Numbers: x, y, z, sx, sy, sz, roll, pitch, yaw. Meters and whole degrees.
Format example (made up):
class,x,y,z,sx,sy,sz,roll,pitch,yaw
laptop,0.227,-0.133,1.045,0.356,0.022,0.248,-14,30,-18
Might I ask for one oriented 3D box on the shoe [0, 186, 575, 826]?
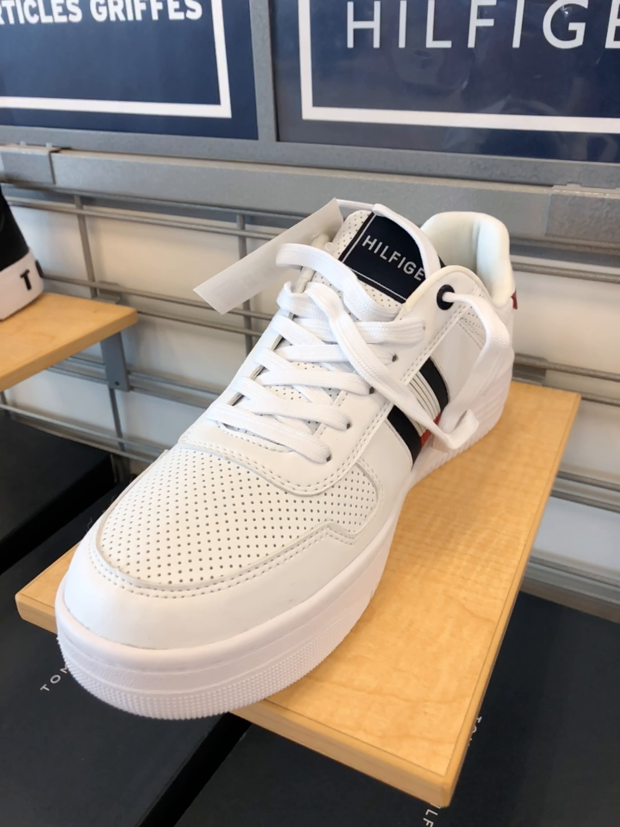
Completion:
class,x,y,z,sx,sy,sz,roll,pitch,yaw
shoe,0.011,-0.009,0.291,0.107,0.113,0.281,16,33,29
